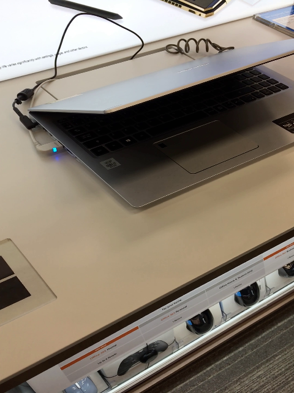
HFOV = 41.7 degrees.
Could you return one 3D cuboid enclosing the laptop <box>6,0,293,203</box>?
[{"bbox_3d":[0.084,-0.171,0.538,0.401,0.143,0.253,-25,54,-16],"label":"laptop"}]
